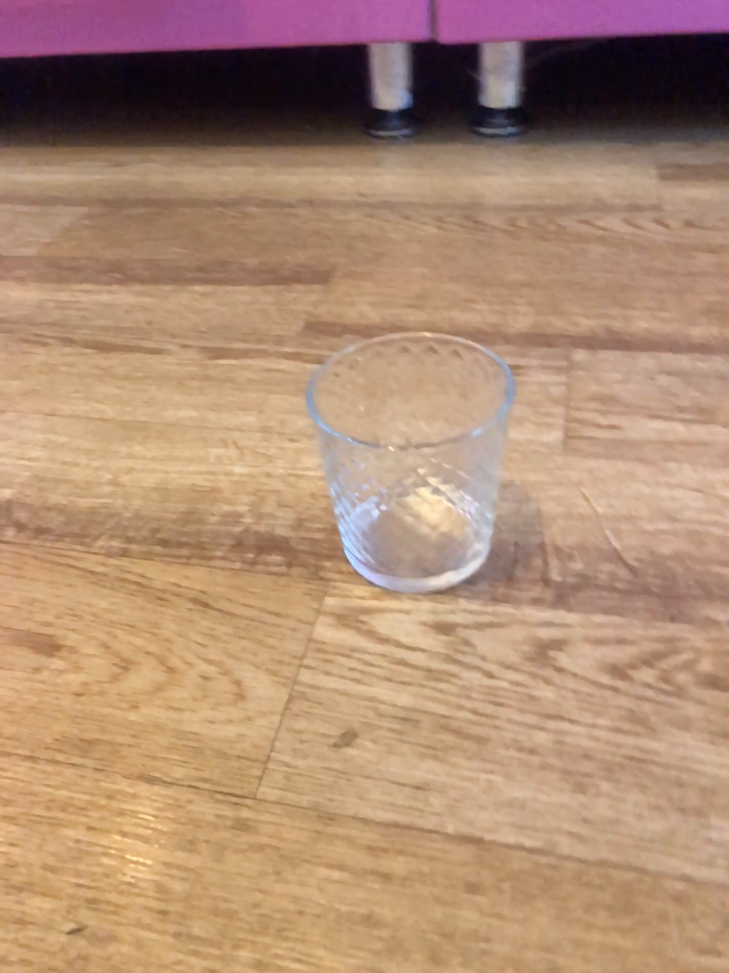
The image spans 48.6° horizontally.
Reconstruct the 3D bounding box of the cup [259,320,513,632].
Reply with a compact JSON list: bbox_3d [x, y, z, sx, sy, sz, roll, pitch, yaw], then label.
[{"bbox_3d":[0.015,-0.006,0.330,0.080,0.090,0.080,-3,40,3],"label":"cup"}]
